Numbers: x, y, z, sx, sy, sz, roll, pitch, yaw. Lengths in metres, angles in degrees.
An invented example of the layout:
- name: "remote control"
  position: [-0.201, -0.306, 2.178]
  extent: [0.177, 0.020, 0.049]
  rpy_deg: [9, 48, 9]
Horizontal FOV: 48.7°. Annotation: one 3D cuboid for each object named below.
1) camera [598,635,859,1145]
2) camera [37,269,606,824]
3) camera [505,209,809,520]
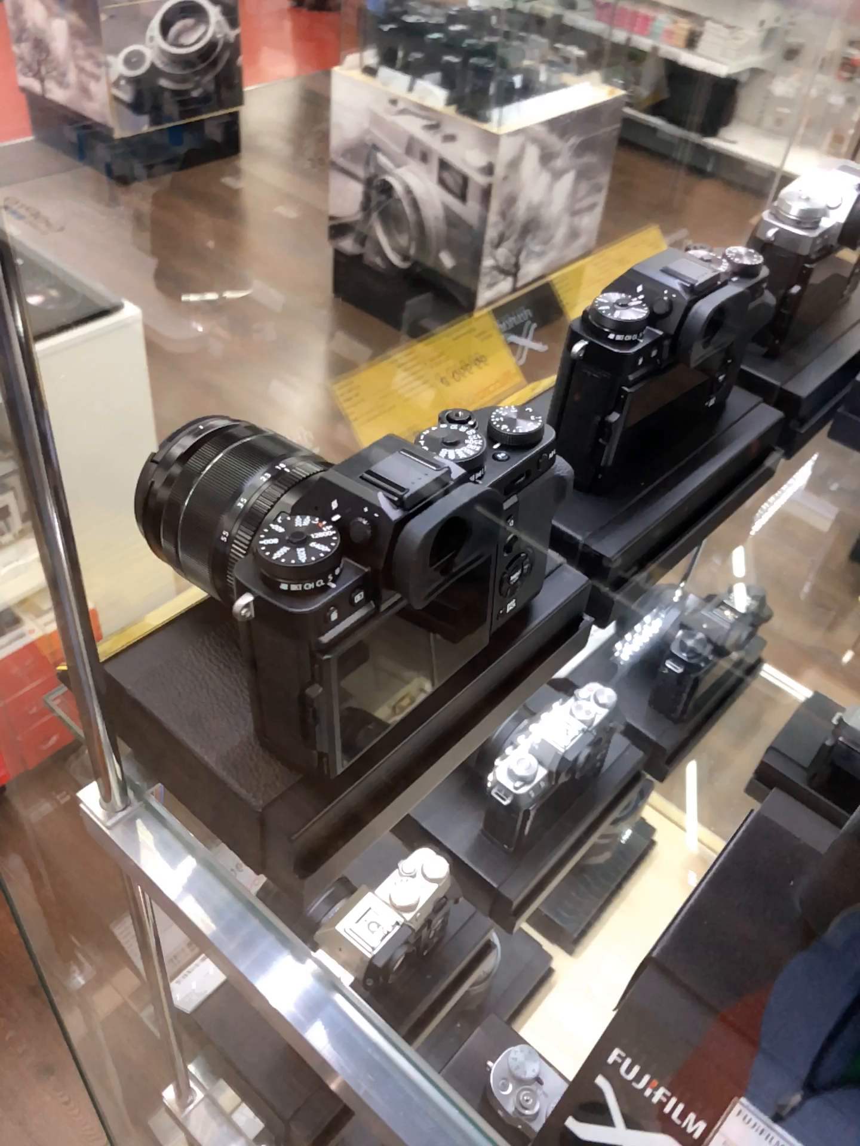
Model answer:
- name: "camera"
  position: [0.133, 0.107, 0.226]
  extent: [0.125, 0.088, 0.116]
  rpy_deg: [35, 49, 27]
- name: "camera"
  position: [-0.034, -0.018, 0.328]
  extent: [0.119, 0.099, 0.129]
  rpy_deg: [32, 48, 24]
- name: "camera"
  position: [0.105, -0.101, 0.445]
  extent: [0.066, 0.088, 0.125]
  rpy_deg: [34, 49, 26]
